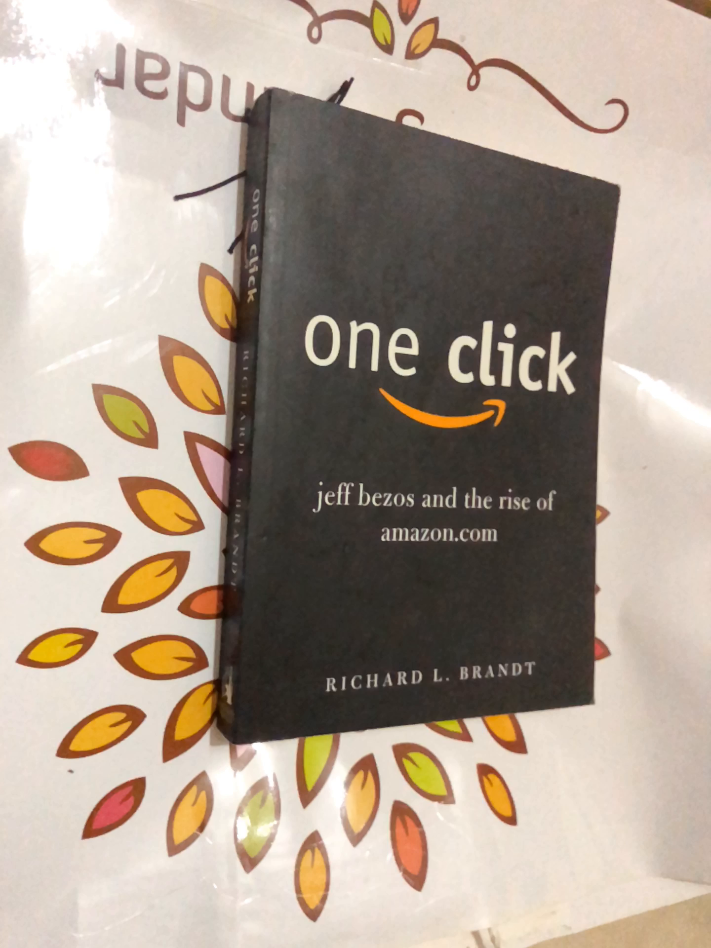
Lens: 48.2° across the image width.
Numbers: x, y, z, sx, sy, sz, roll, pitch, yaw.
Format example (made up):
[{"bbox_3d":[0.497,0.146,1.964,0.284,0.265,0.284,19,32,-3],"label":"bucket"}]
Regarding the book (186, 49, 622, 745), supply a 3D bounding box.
[{"bbox_3d":[0.026,-0.021,0.293,0.161,0.020,0.220,4,88,-25],"label":"book"}]
